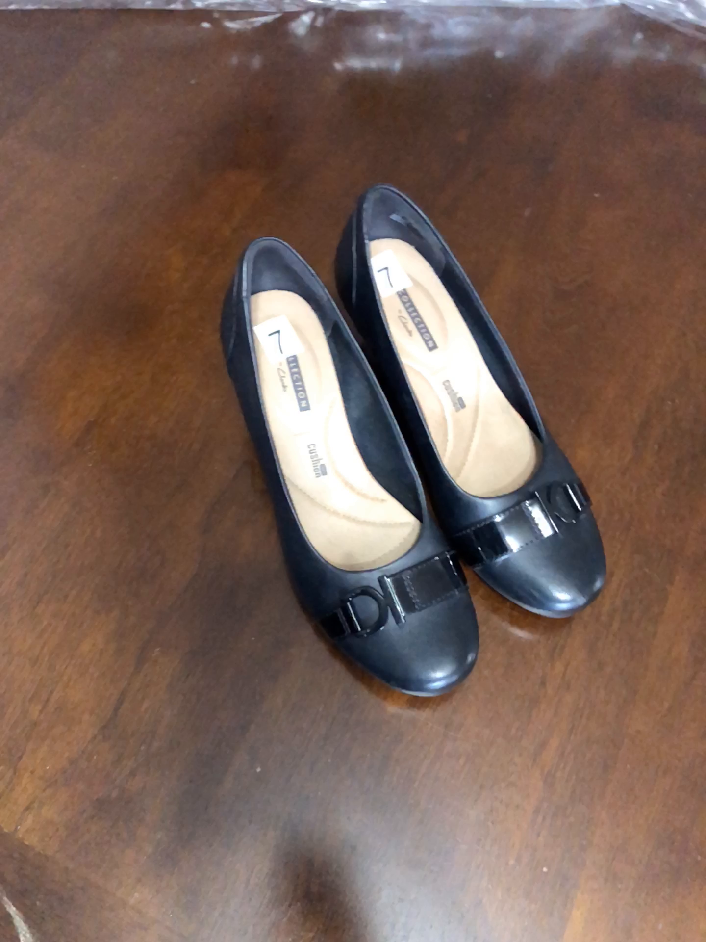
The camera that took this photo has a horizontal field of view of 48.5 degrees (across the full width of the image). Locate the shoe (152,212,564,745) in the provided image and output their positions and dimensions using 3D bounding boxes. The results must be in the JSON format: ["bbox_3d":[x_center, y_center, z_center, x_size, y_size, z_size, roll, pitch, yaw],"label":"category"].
[{"bbox_3d":[-0.009,0.001,0.420,0.090,0.110,0.250,-24,67,-13],"label":"shoe"}]

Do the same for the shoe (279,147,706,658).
[{"bbox_3d":[0.062,-0.041,0.432,0.090,0.110,0.250,-28,67,-14],"label":"shoe"}]
